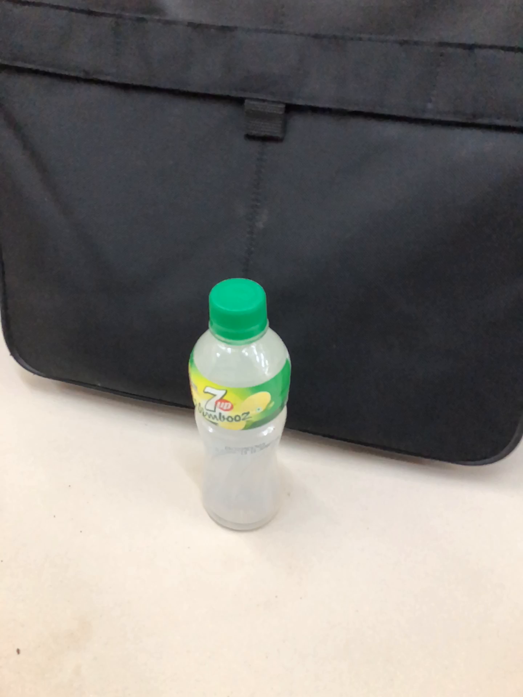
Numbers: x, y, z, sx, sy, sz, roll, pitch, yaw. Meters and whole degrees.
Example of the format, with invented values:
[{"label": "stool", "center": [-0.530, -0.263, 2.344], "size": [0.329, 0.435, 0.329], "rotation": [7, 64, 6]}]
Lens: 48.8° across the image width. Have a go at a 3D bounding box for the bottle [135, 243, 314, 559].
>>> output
[{"label": "bottle", "center": [-0.016, 0.040, 0.354], "size": [0.070, 0.189, 0.070], "rotation": [0, 42, 0]}]
